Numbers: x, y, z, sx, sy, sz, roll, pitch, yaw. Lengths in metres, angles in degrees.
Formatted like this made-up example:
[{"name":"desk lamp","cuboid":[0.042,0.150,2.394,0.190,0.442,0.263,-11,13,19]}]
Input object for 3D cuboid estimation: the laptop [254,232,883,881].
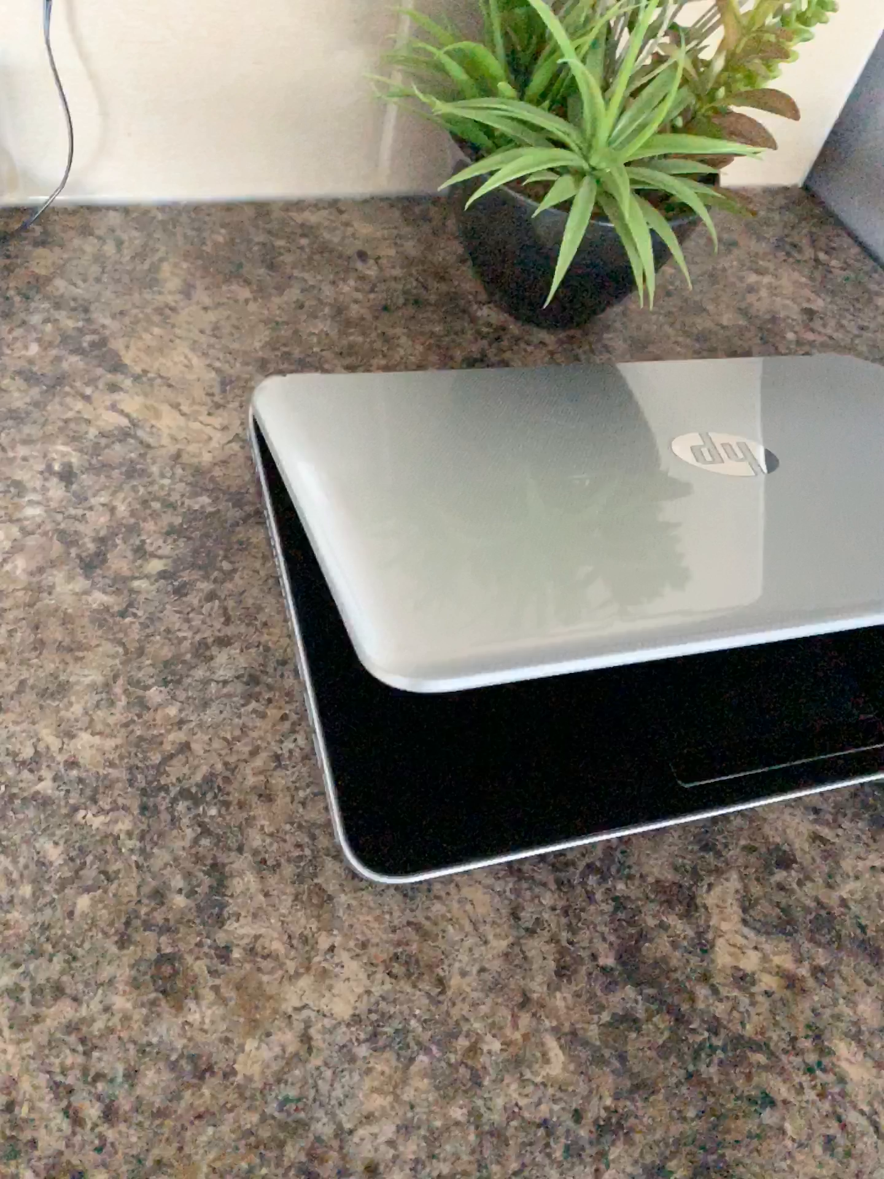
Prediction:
[{"name":"laptop","cuboid":[0.109,-0.039,0.356,0.329,0.081,0.207,-7,57,-18]}]
